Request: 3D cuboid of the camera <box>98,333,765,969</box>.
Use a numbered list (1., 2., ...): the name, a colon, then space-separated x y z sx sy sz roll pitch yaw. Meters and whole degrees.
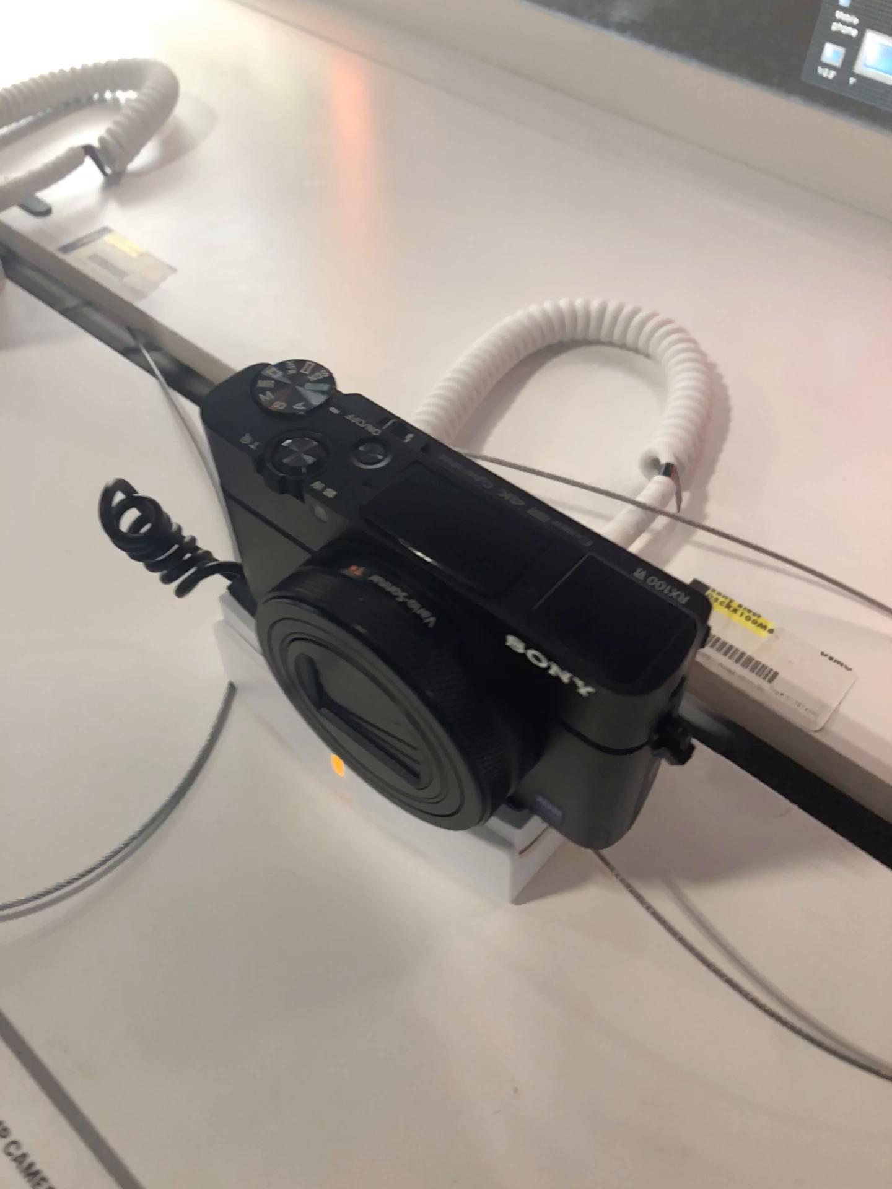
1. camera: -0.007 0.007 0.184 0.109 0.060 0.040 34 56 24
